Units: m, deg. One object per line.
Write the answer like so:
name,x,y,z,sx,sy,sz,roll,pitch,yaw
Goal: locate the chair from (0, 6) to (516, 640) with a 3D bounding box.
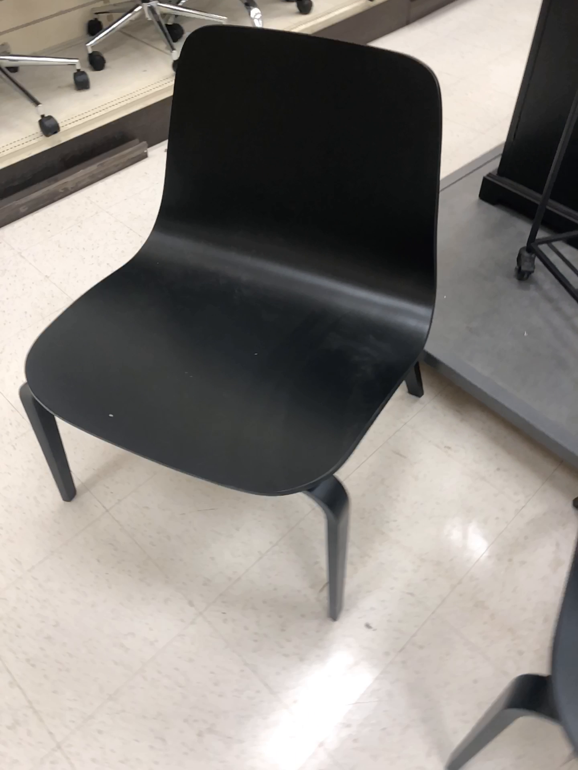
chair,-0.088,-0.112,1.105,0.641,0.718,0.631,19,52,17
